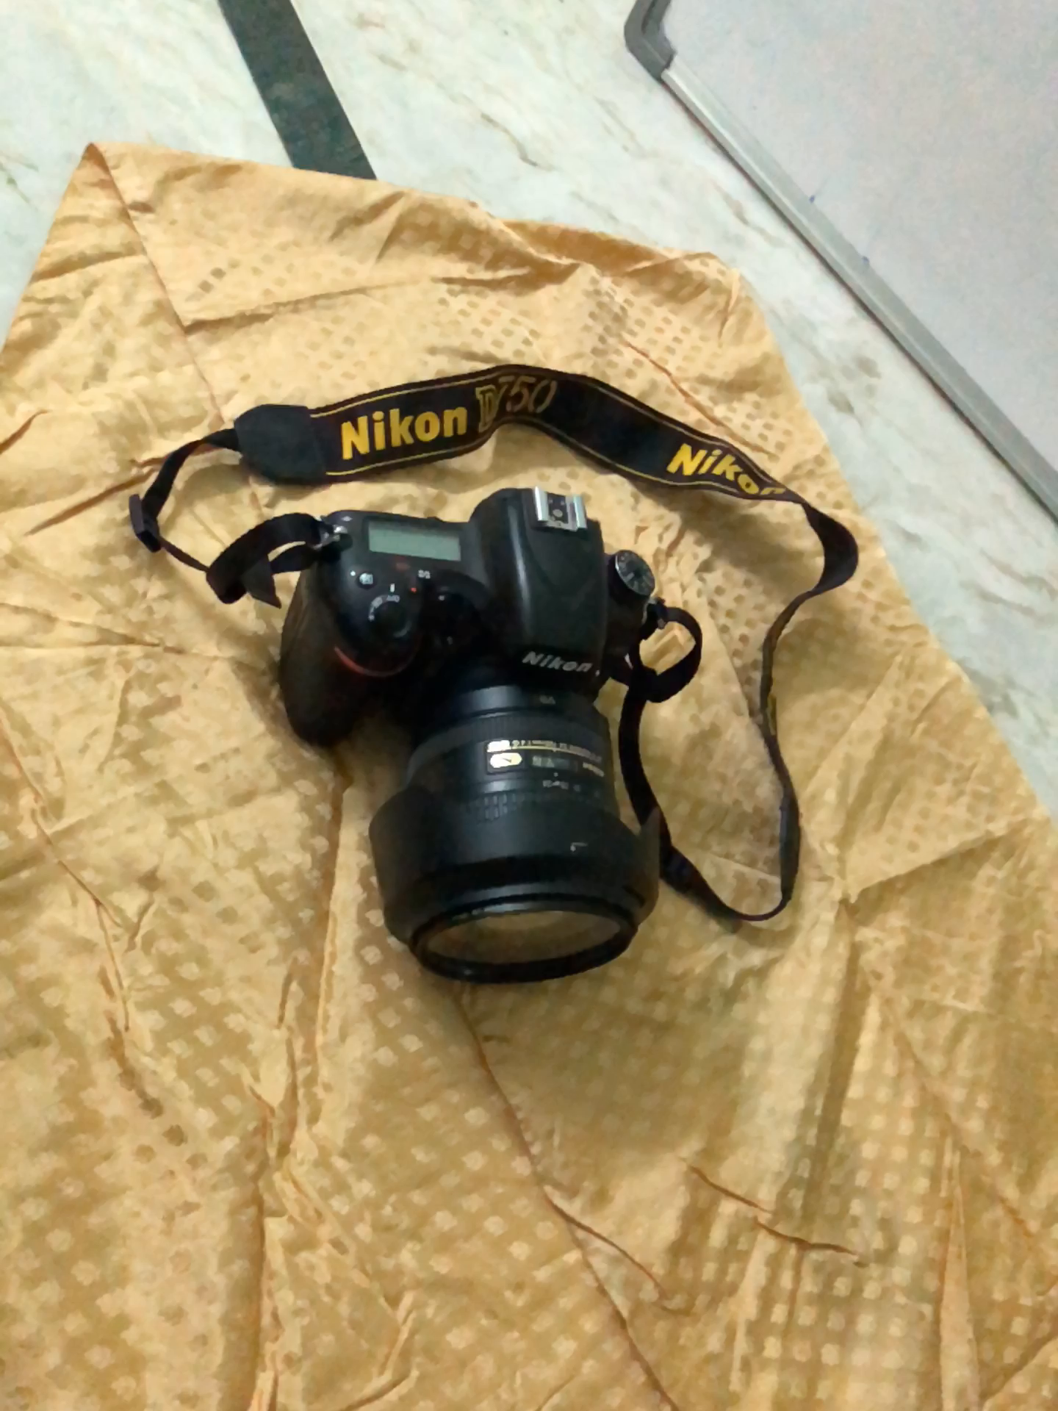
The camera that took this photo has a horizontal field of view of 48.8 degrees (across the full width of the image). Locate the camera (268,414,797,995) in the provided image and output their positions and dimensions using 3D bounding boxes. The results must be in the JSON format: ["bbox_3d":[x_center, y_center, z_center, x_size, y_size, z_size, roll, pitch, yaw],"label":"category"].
[{"bbox_3d":[-0.010,0.008,0.431,0.149,0.109,0.171,6,62,-23],"label":"camera"}]
